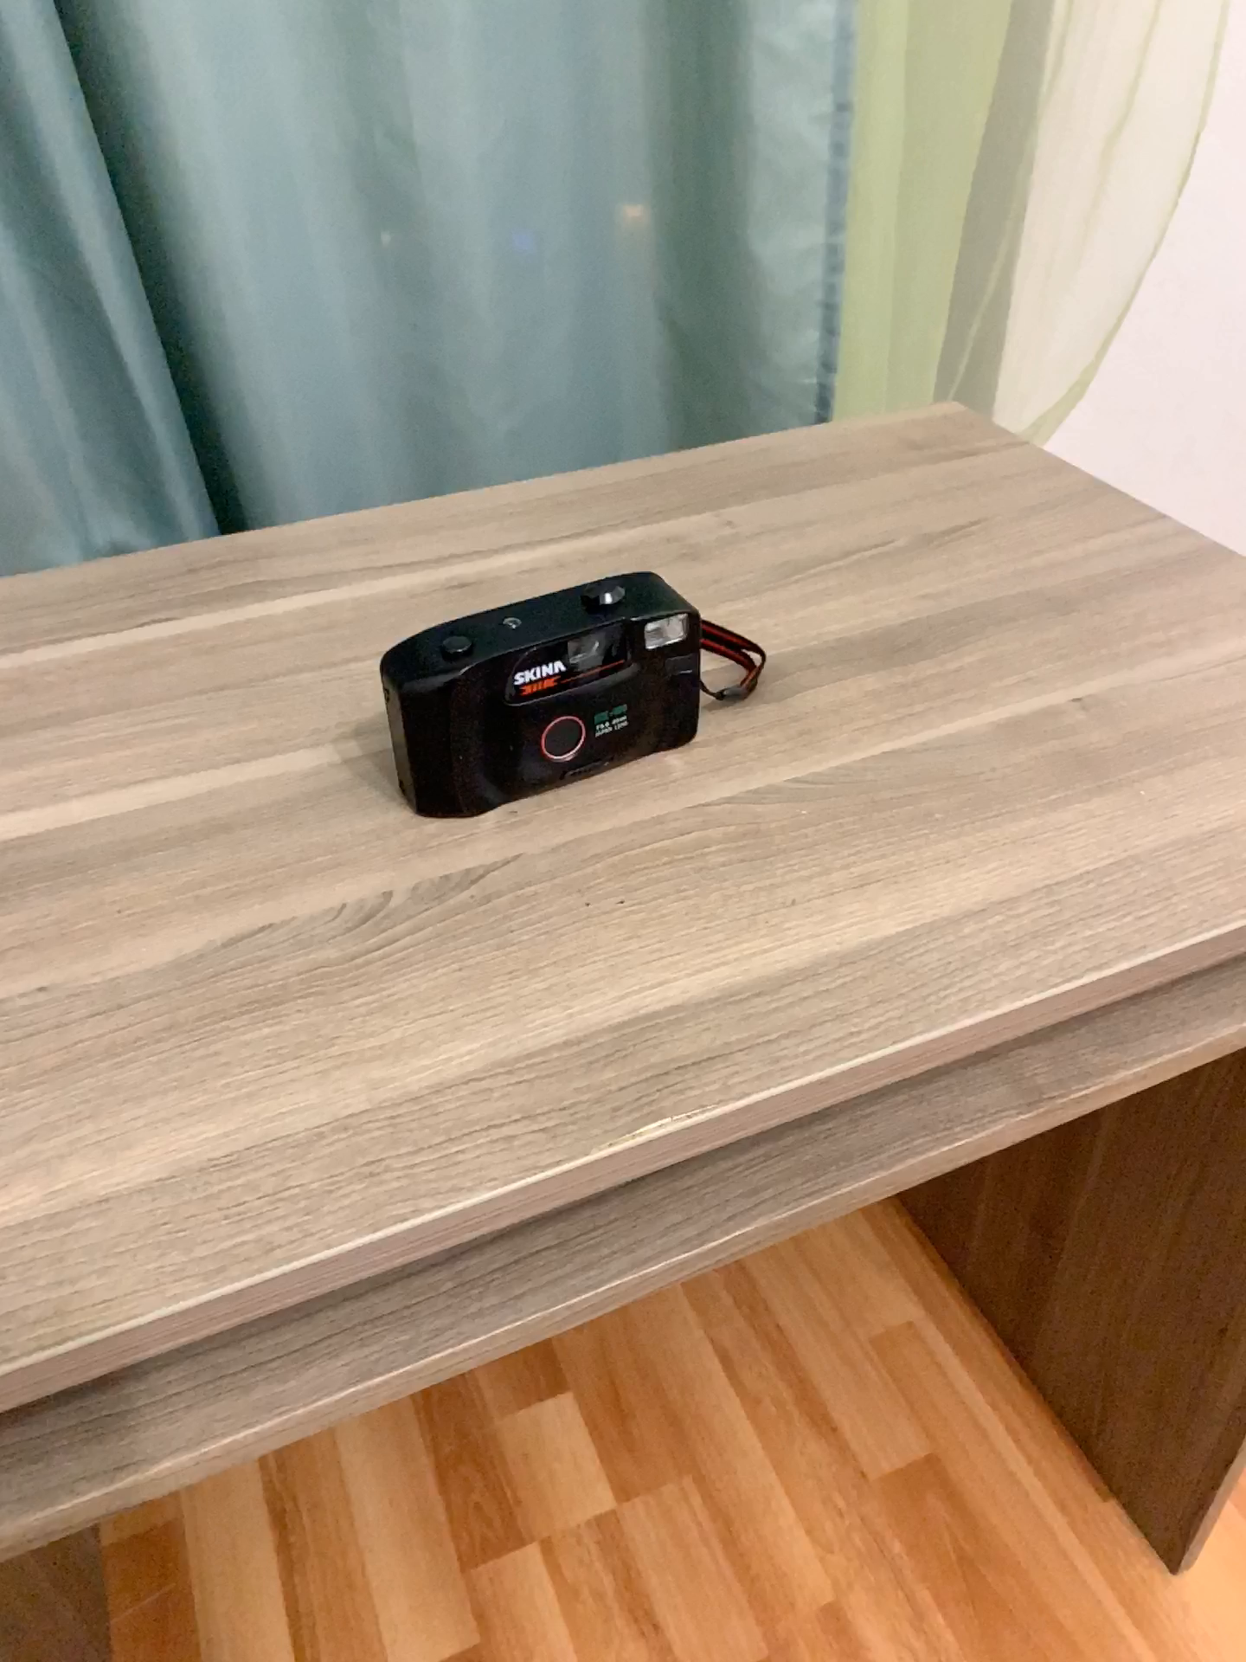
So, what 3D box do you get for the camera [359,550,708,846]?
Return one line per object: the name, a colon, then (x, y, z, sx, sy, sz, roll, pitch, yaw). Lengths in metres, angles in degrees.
camera: (-0.031, -0.053, 0.488, 0.120, 0.069, 0.046, -20, 40, -25)
